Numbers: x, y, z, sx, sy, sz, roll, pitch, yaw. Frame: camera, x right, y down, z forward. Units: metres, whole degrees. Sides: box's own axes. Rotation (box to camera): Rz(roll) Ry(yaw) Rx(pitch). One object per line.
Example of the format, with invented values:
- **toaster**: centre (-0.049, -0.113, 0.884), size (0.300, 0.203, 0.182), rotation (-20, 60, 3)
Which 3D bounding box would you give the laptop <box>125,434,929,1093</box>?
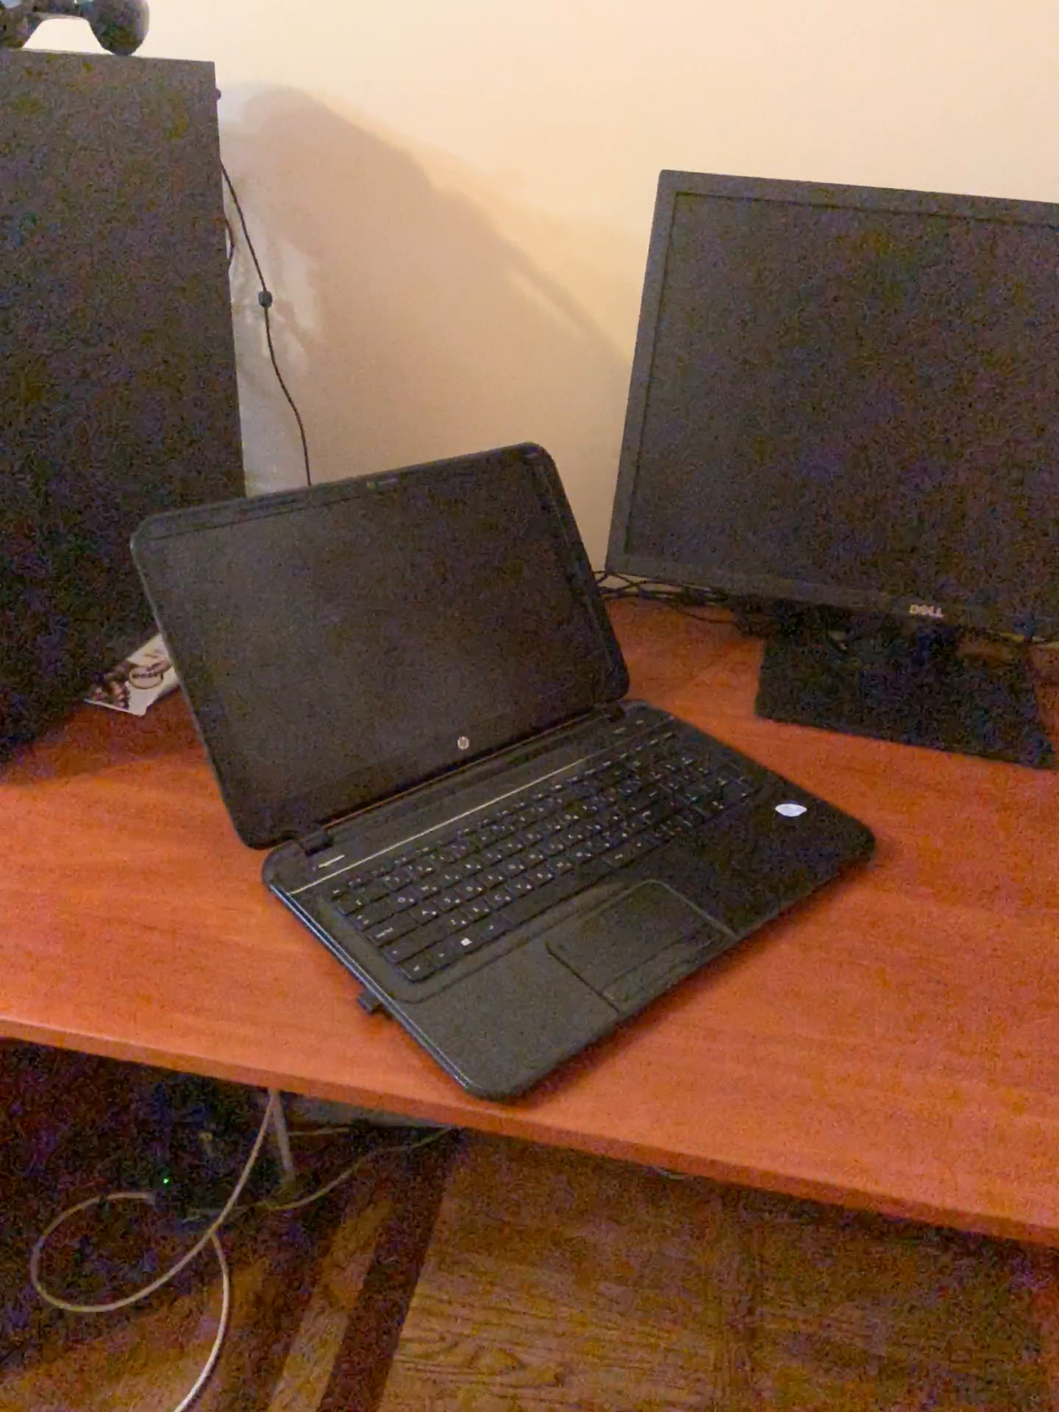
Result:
- **laptop**: centre (-0.011, -0.015, 0.686), size (0.332, 0.168, 0.359), rotation (-20, 40, -36)
